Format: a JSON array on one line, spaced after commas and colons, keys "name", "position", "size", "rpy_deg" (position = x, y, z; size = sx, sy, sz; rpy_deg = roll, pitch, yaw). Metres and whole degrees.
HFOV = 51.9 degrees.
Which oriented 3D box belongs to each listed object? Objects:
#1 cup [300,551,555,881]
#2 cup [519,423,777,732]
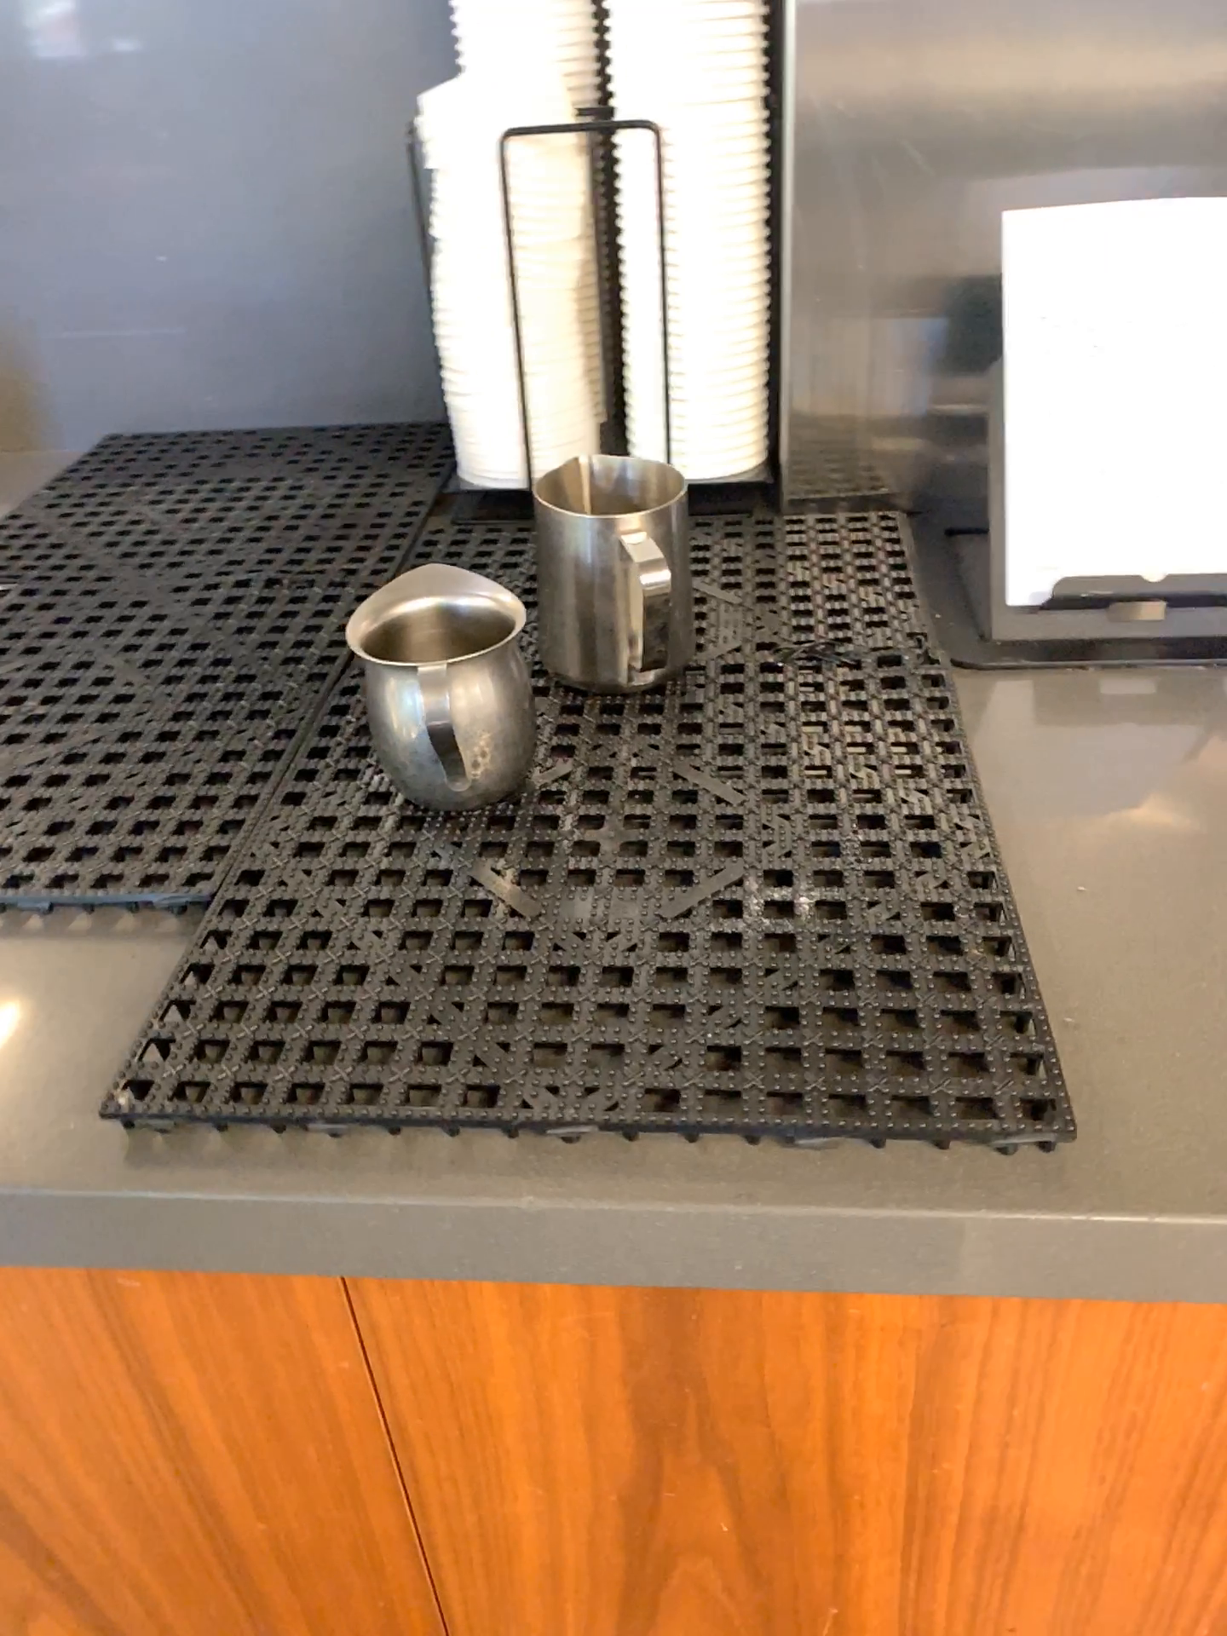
[{"name": "cup", "position": [-0.074, -0.045, 0.494], "size": [0.080, 0.070, 0.121], "rpy_deg": [-9, 34, -7]}, {"name": "cup", "position": [0.012, -0.106, 0.537], "size": [0.080, 0.079, 0.121], "rpy_deg": [-10, 34, -8]}]
